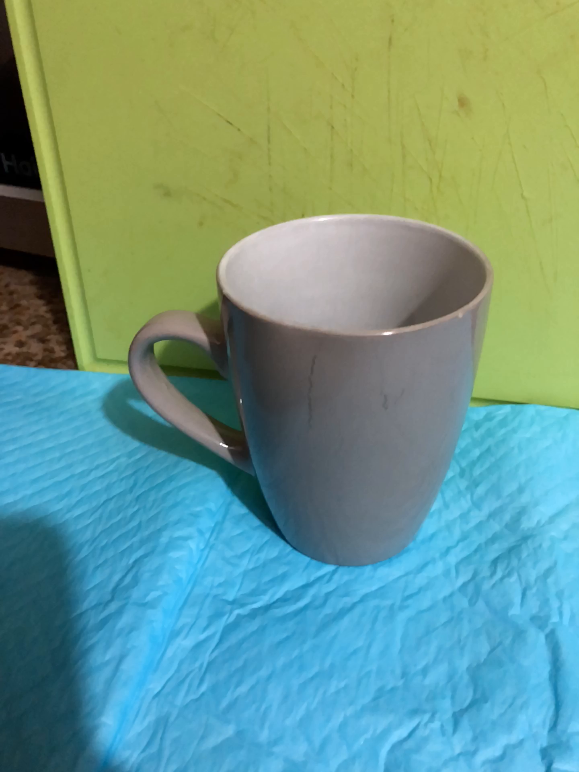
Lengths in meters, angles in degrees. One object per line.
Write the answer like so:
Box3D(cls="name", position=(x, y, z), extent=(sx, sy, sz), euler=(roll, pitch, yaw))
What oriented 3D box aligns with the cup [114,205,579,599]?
Box3D(cls="cup", position=(0.015, 0.003, 0.197), extent=(0.110, 0.090, 0.070), euler=(-3, 34, -3))
